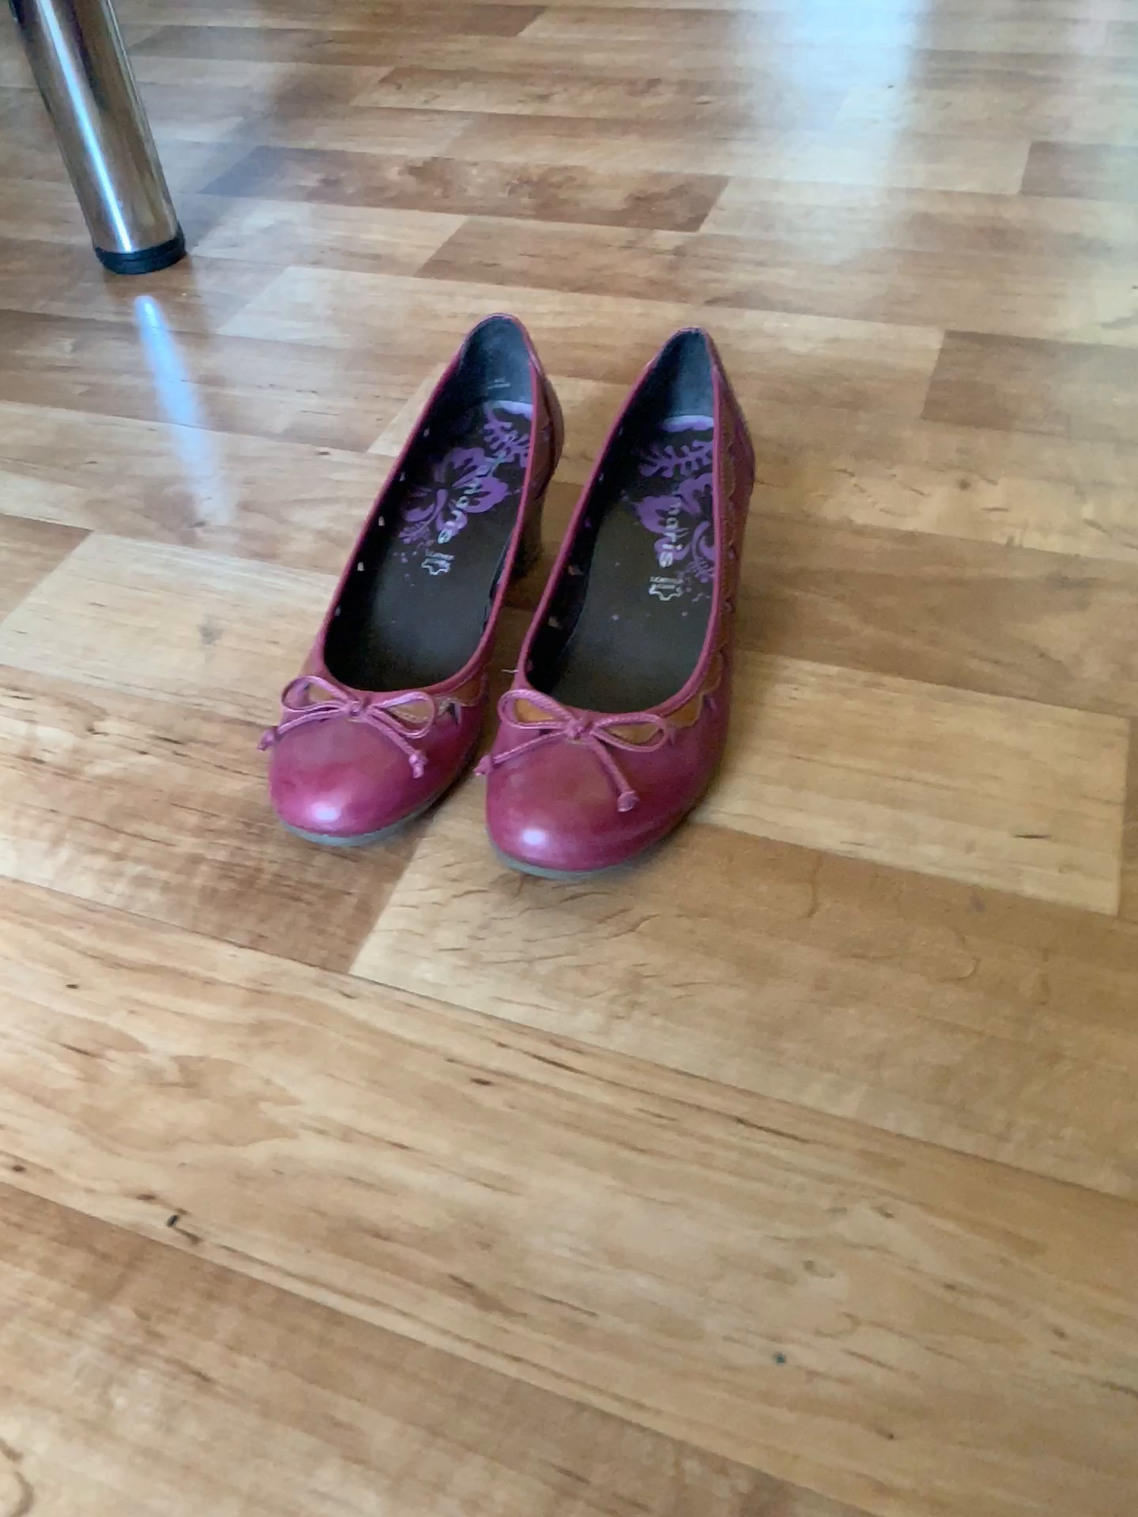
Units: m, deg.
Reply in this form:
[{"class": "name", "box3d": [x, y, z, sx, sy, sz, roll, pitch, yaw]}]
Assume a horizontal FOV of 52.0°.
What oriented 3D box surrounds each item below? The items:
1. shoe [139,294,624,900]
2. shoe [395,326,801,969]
[{"class": "shoe", "box3d": [-0.054, -0.079, 0.475, 0.090, 0.110, 0.241, 10, 48, 14]}, {"class": "shoe", "box3d": [0.026, -0.057, 0.454, 0.090, 0.110, 0.241, 8, 48, 13]}]
